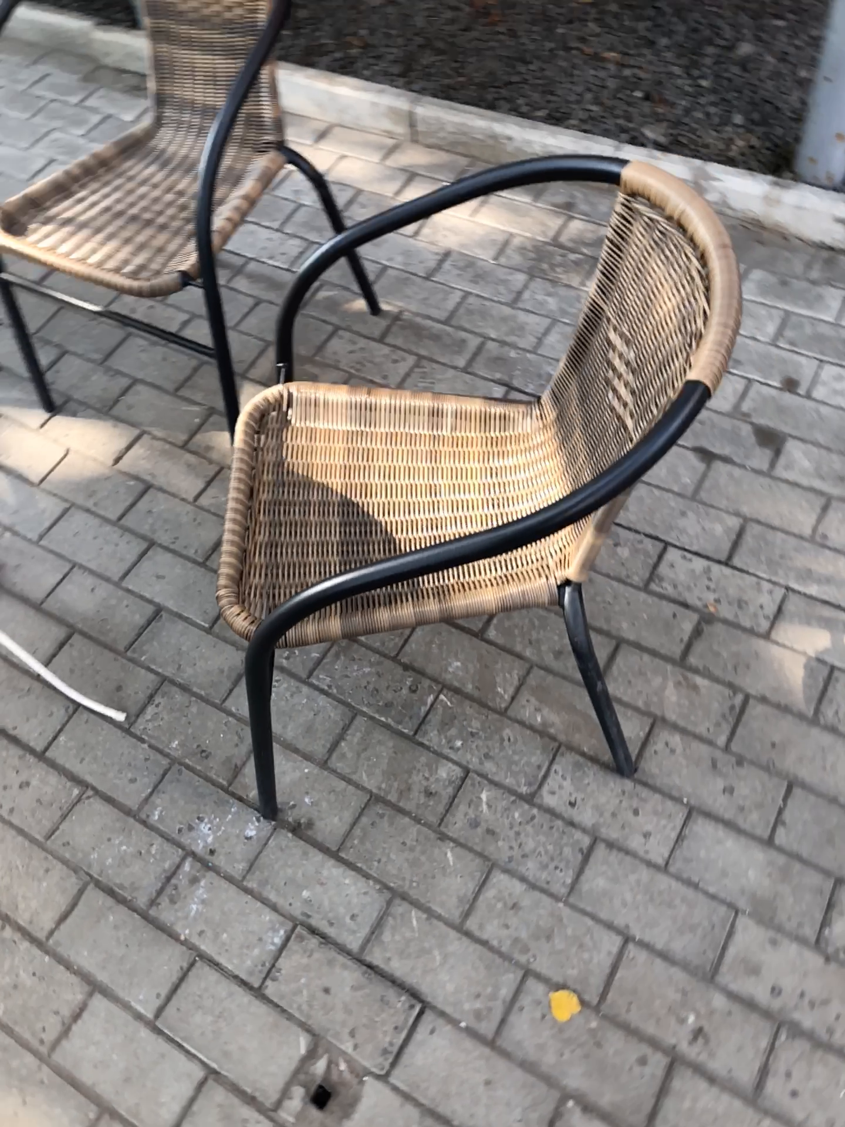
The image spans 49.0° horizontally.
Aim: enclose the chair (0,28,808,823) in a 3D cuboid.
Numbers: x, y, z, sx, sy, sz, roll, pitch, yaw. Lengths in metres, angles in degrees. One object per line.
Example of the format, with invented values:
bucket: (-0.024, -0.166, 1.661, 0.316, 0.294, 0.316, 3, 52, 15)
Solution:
chair: (-0.008, -0.094, 1.047, 0.590, 0.668, 0.542, -3, 55, 5)
